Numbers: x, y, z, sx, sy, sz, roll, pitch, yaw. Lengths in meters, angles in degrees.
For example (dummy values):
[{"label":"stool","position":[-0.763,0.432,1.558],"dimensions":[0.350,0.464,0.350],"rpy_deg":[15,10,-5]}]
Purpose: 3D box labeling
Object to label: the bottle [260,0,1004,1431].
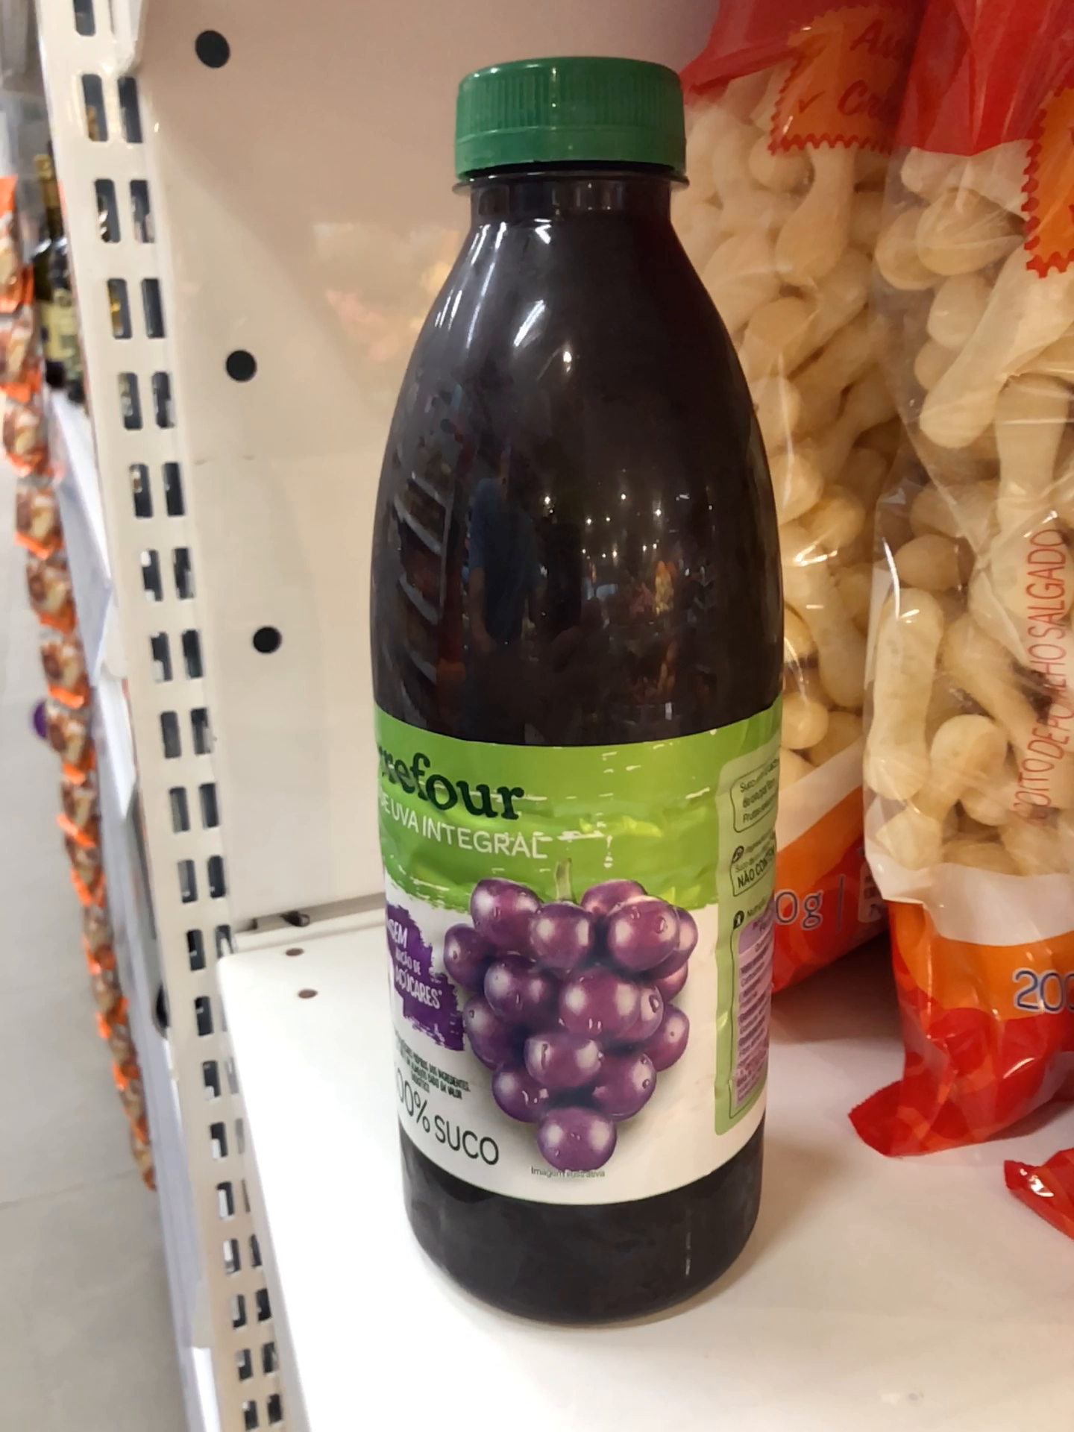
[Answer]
[{"label":"bottle","position":[0.013,0.003,0.230],"dimensions":[0.080,0.229,0.090],"rpy_deg":[-15,23,-35]}]
